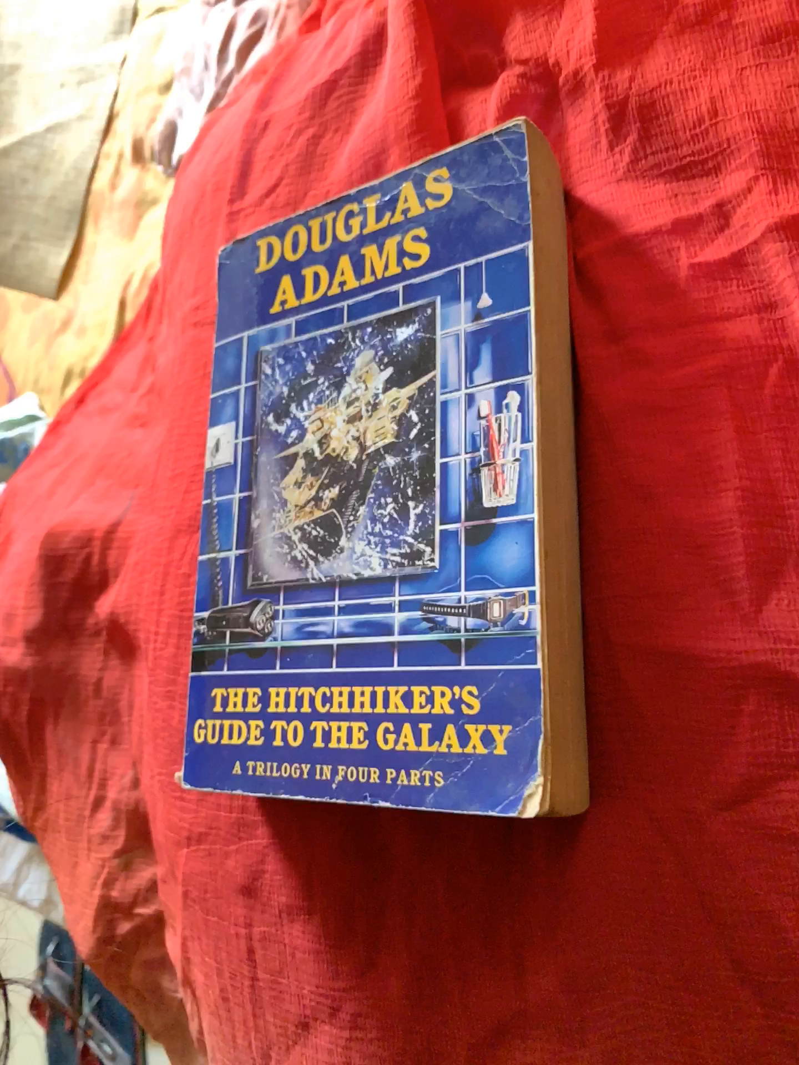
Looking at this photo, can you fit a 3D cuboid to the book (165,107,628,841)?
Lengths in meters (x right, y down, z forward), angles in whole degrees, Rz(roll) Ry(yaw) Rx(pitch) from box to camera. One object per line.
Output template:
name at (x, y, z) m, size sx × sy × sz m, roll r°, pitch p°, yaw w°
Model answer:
book at (-0.003, -0.013, 0.258) m, size 0.131 × 0.044 × 0.187 m, roll -7°, pitch 75°, yaw 34°
